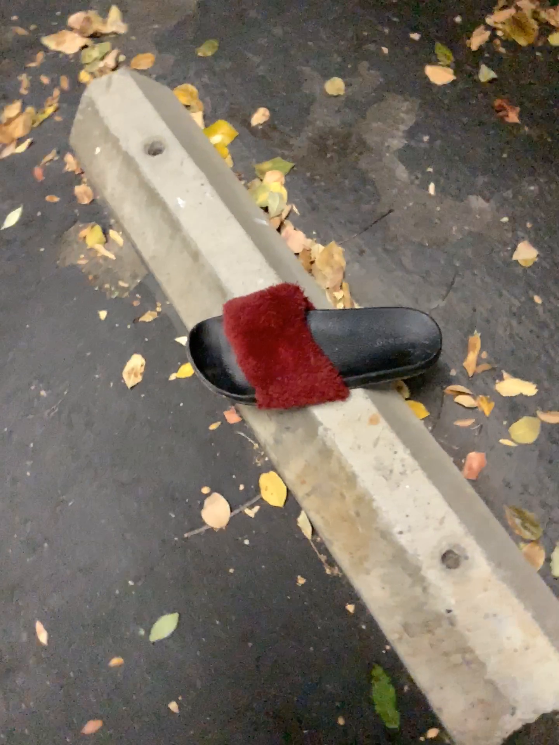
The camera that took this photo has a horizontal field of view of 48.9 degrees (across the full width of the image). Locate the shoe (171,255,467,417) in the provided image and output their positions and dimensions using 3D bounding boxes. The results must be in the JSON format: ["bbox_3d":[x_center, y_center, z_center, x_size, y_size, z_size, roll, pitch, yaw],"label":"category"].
[{"bbox_3d":[0.034,-0.039,0.631,0.280,0.050,0.140,-4,67,-1],"label":"shoe"}]
